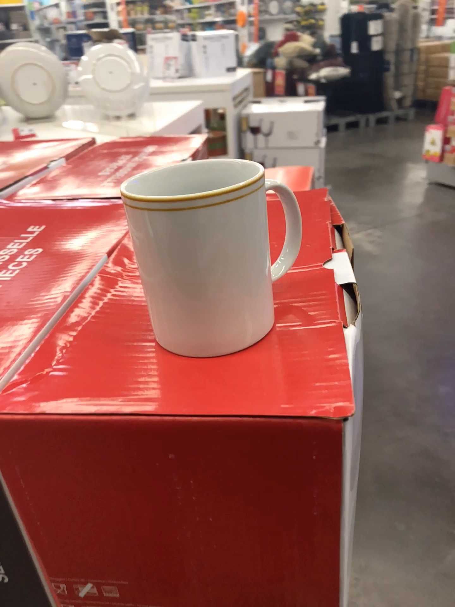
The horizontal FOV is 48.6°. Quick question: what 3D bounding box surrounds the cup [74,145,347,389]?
[{"bbox_3d":[-0.009,-0.032,0.295,0.116,0.091,0.096,-19,31,-29],"label":"cup"}]
